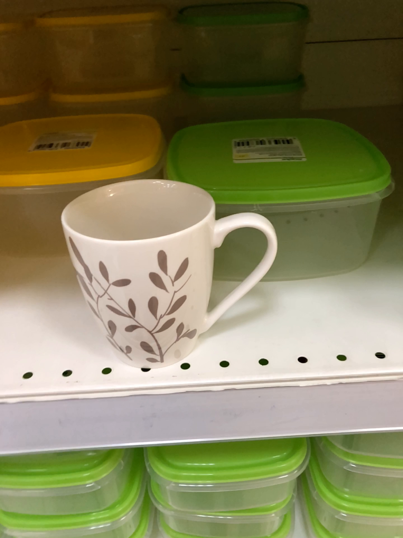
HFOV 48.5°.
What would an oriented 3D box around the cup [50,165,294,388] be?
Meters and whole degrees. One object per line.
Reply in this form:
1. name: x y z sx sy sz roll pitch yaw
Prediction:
1. cup: -0.016 0.002 0.283 0.121 0.097 0.086 -6 35 -4
